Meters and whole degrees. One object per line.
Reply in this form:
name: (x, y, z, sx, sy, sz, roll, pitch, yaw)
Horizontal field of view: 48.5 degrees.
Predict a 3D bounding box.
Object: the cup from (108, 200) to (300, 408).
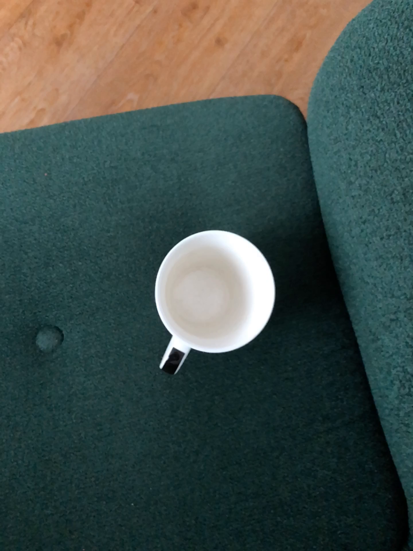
cup: (-0.004, 0.024, 0.377, 0.095, 0.095, 0.120, 27, 81, -2)
